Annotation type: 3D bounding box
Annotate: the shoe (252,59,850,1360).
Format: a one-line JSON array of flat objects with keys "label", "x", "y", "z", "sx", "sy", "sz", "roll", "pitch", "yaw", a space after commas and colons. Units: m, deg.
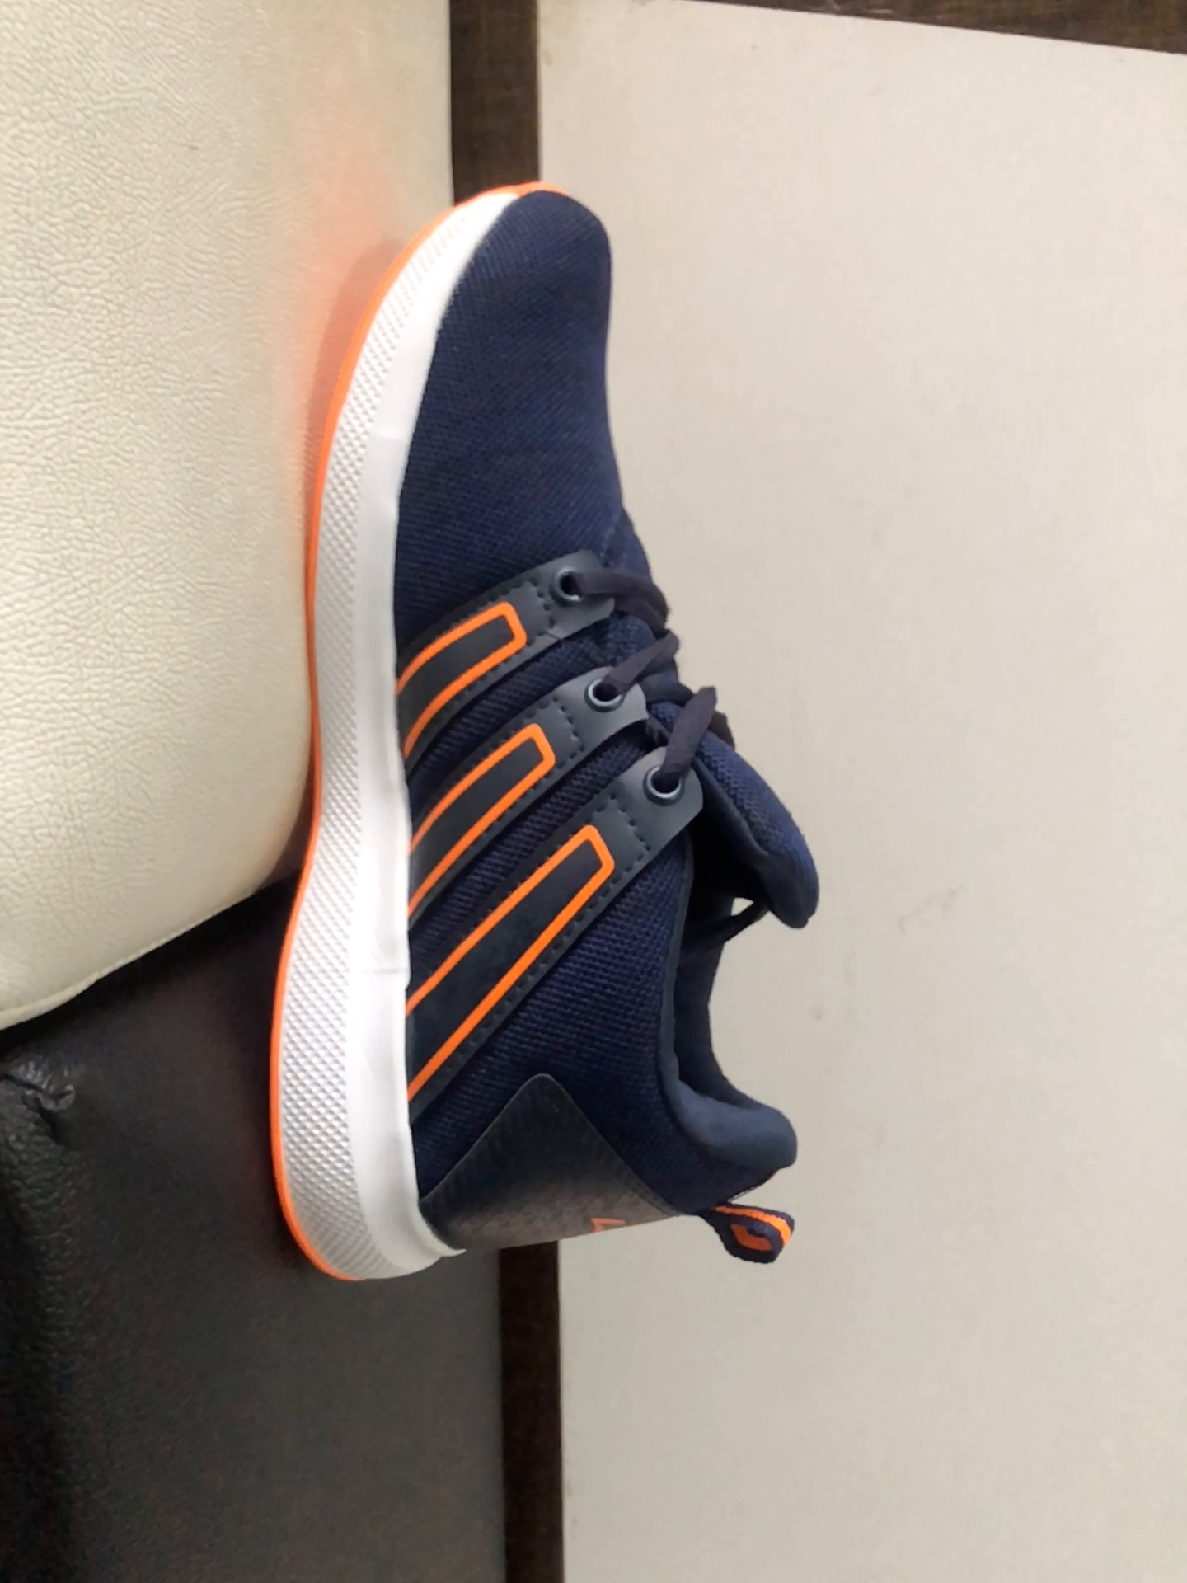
[{"label": "shoe", "x": -0.001, "y": -0.021, "z": 0.353, "sx": 0.120, "sy": 0.110, "sz": 0.280, "roll": -2, "pitch": 97, "yaw": -81}]
